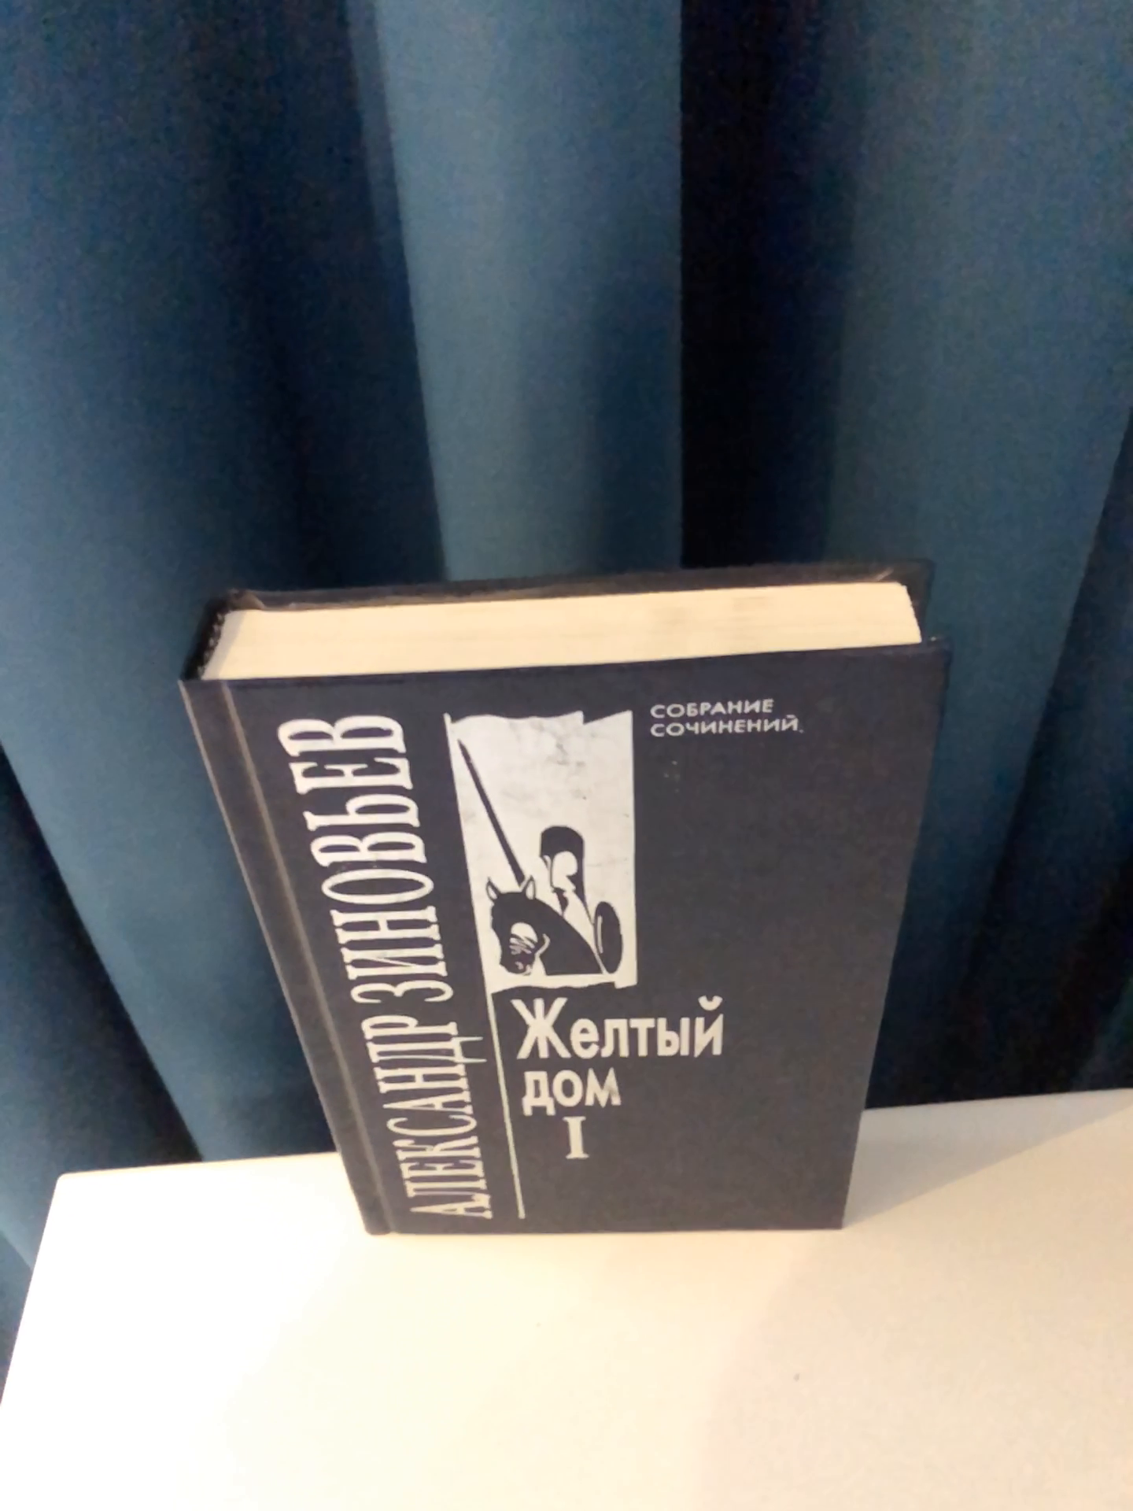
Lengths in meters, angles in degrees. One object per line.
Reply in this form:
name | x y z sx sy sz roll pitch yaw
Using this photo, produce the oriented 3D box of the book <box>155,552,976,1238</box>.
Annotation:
book | 0.005 0.051 0.298 0.140 0.210 0.033 -2 44 3
